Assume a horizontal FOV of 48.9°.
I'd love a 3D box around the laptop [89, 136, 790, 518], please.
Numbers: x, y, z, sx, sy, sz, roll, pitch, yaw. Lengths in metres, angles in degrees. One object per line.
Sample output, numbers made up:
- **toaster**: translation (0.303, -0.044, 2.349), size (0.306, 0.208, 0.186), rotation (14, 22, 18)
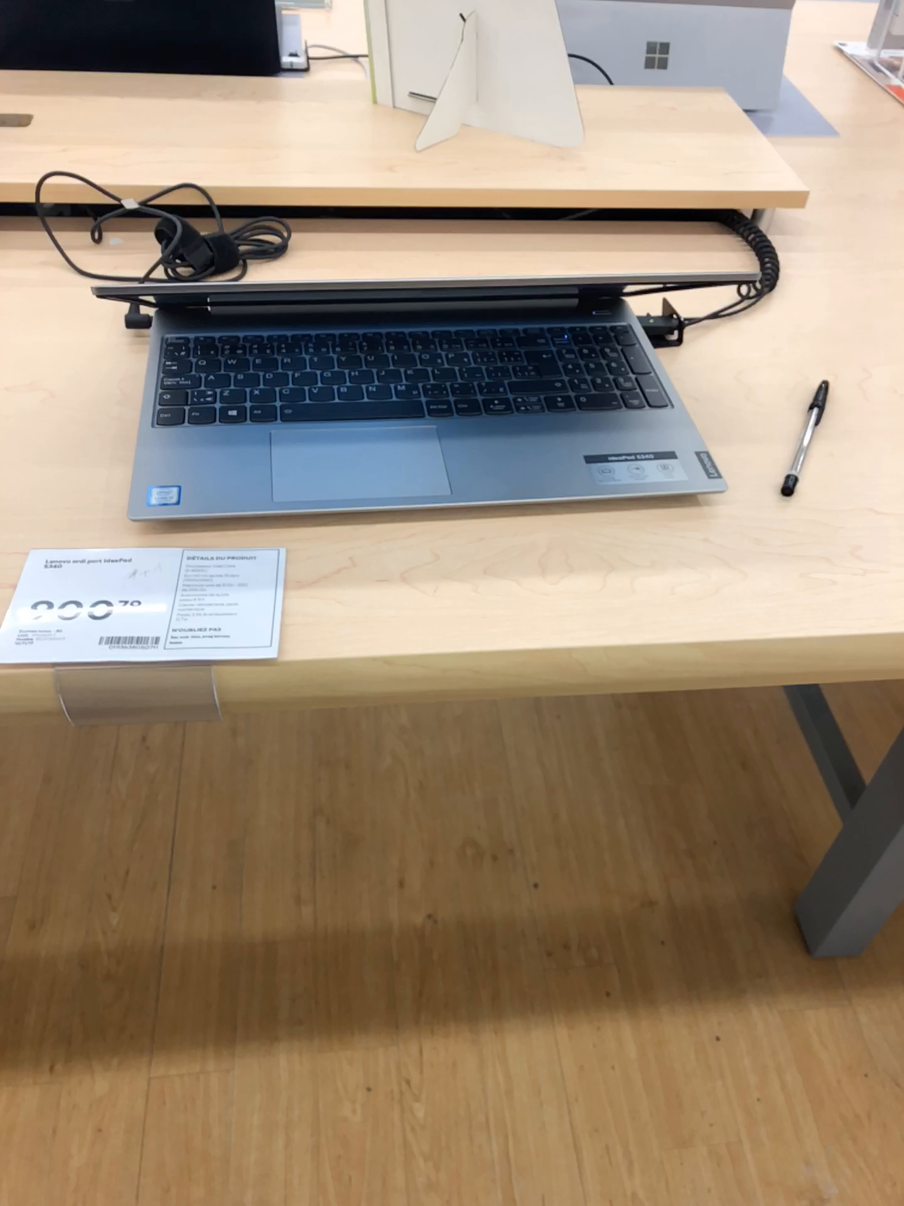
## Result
- **laptop**: translation (-0.020, -0.183, 0.618), size (0.351, 0.122, 0.235), rotation (-4, 45, -8)
